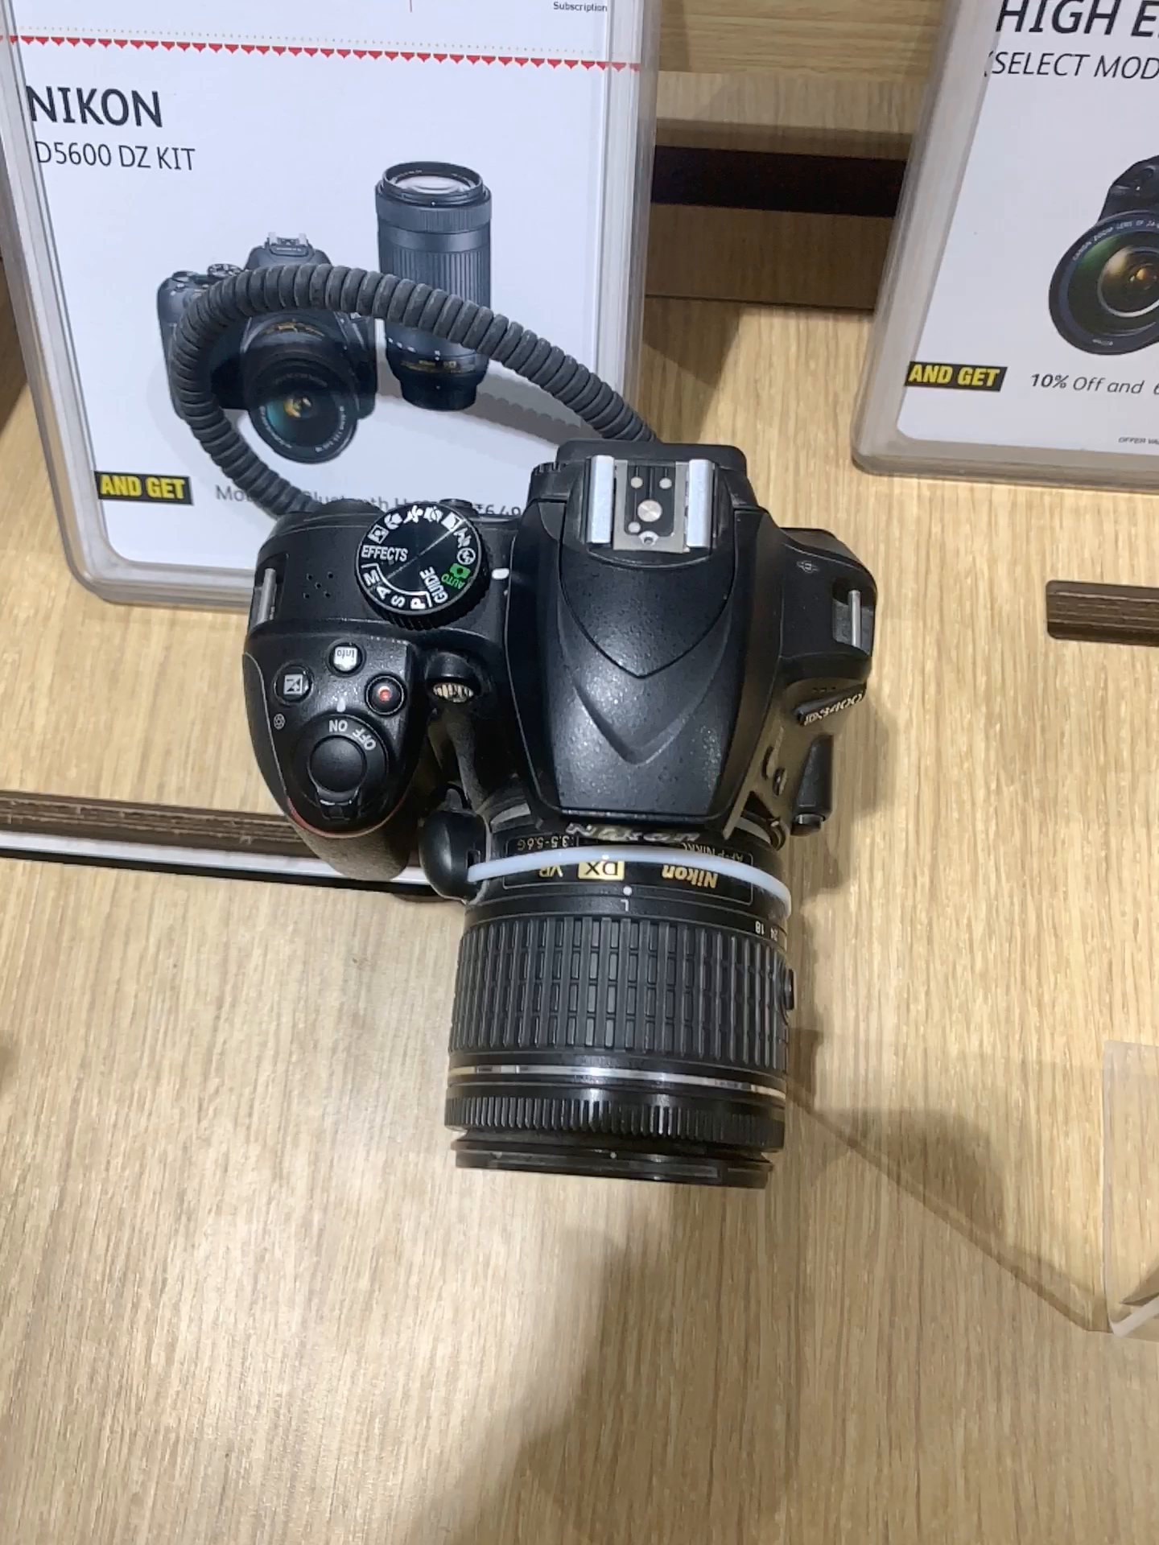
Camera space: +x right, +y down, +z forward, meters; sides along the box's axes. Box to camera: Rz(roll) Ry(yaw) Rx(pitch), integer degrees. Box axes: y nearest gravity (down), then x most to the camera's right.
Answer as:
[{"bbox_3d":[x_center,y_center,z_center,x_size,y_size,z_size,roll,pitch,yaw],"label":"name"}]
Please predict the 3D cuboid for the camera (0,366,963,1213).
[{"bbox_3d":[-0.010,0.011,0.214,0.120,0.100,0.120,2,69,3],"label":"camera"}]
